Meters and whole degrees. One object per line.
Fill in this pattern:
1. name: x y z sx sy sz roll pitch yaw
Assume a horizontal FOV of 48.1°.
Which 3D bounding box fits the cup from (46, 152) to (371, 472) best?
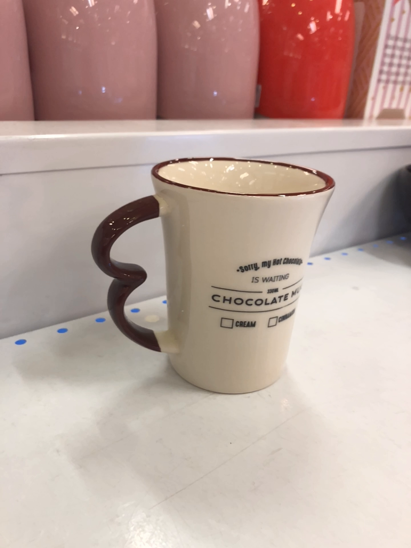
1. cup: -0.003 0.004 0.232 0.120 0.109 0.090 -12 27 -32
